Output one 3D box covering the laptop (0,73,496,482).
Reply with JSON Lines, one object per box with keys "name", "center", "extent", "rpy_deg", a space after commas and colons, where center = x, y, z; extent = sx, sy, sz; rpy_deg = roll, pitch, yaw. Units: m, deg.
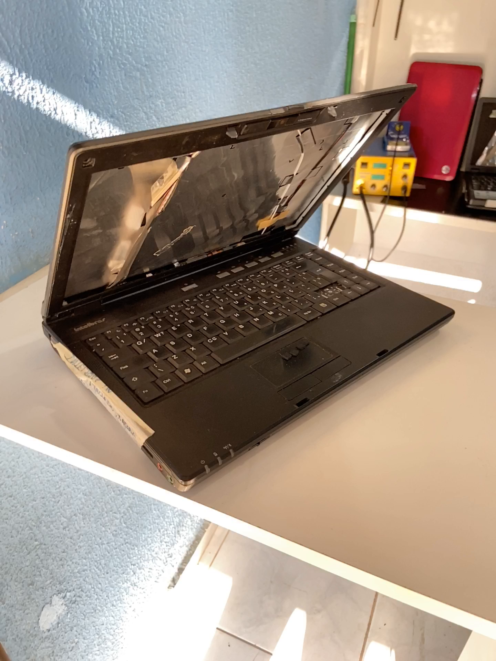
{"name": "laptop", "center": [0.010, -0.090, 0.440], "extent": [0.323, 0.191, 0.232], "rpy_deg": [-25, 41, -33]}
